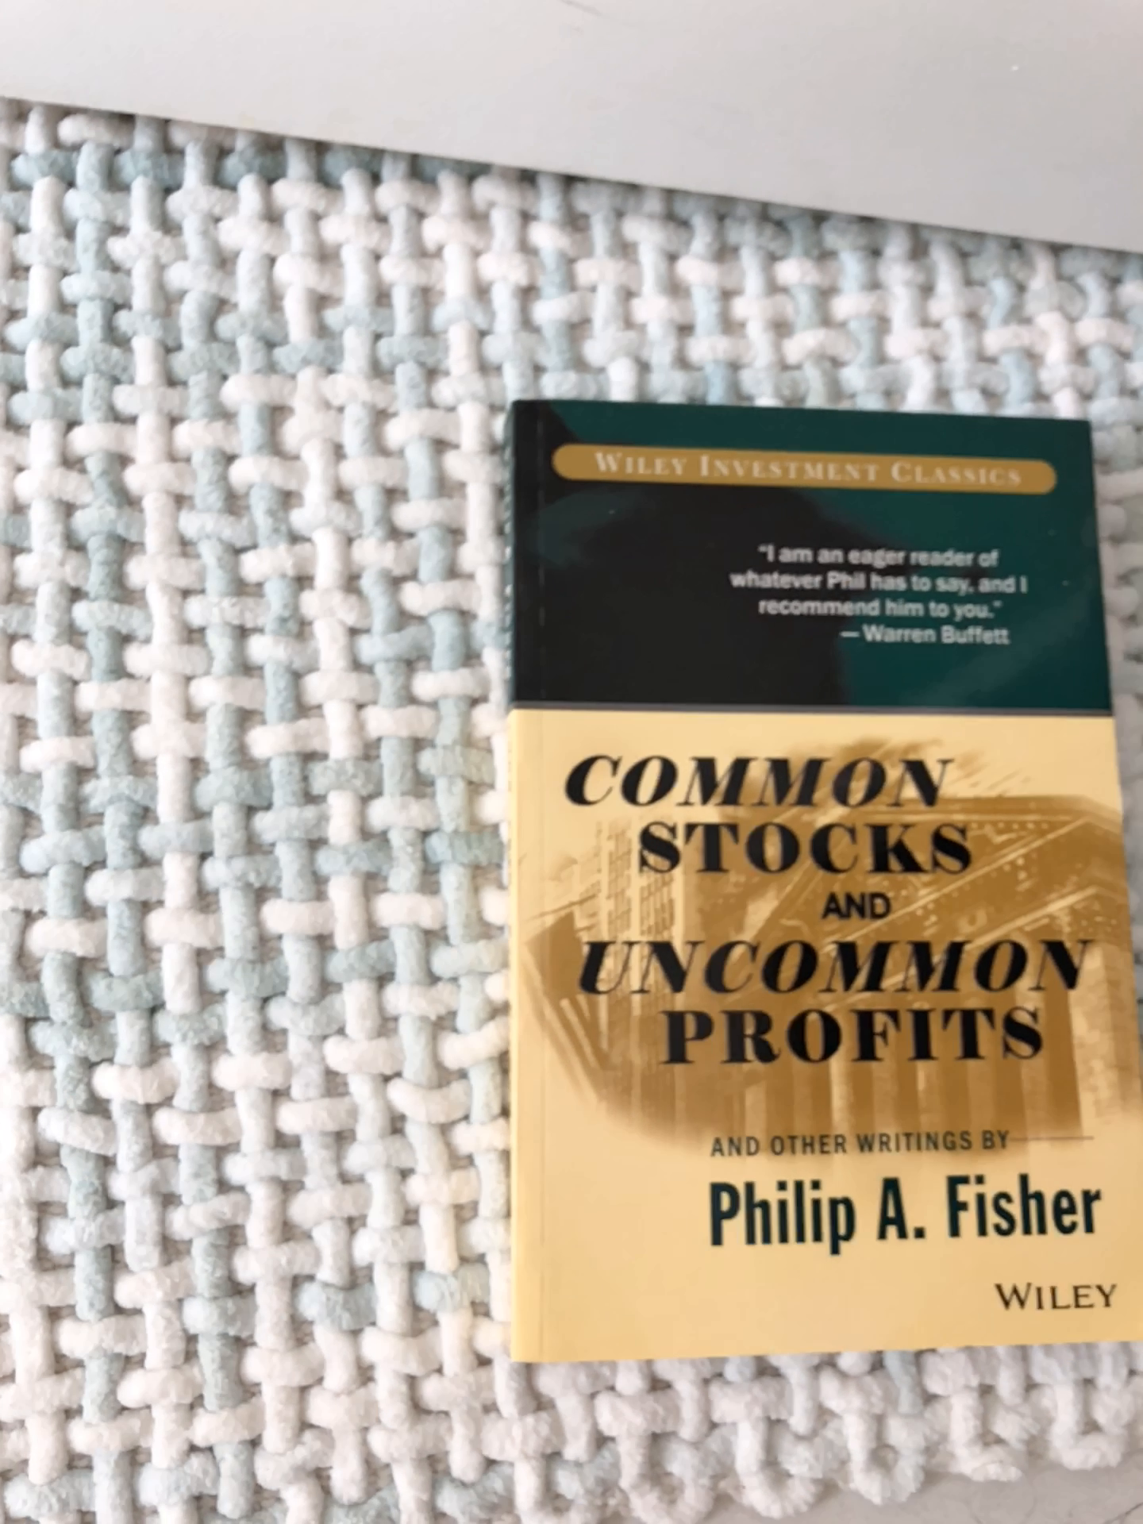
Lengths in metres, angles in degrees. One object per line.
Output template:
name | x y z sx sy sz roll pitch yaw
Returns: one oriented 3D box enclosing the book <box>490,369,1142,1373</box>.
book | 0.062 0.022 0.338 0.166 0.027 0.247 0 81 -6
